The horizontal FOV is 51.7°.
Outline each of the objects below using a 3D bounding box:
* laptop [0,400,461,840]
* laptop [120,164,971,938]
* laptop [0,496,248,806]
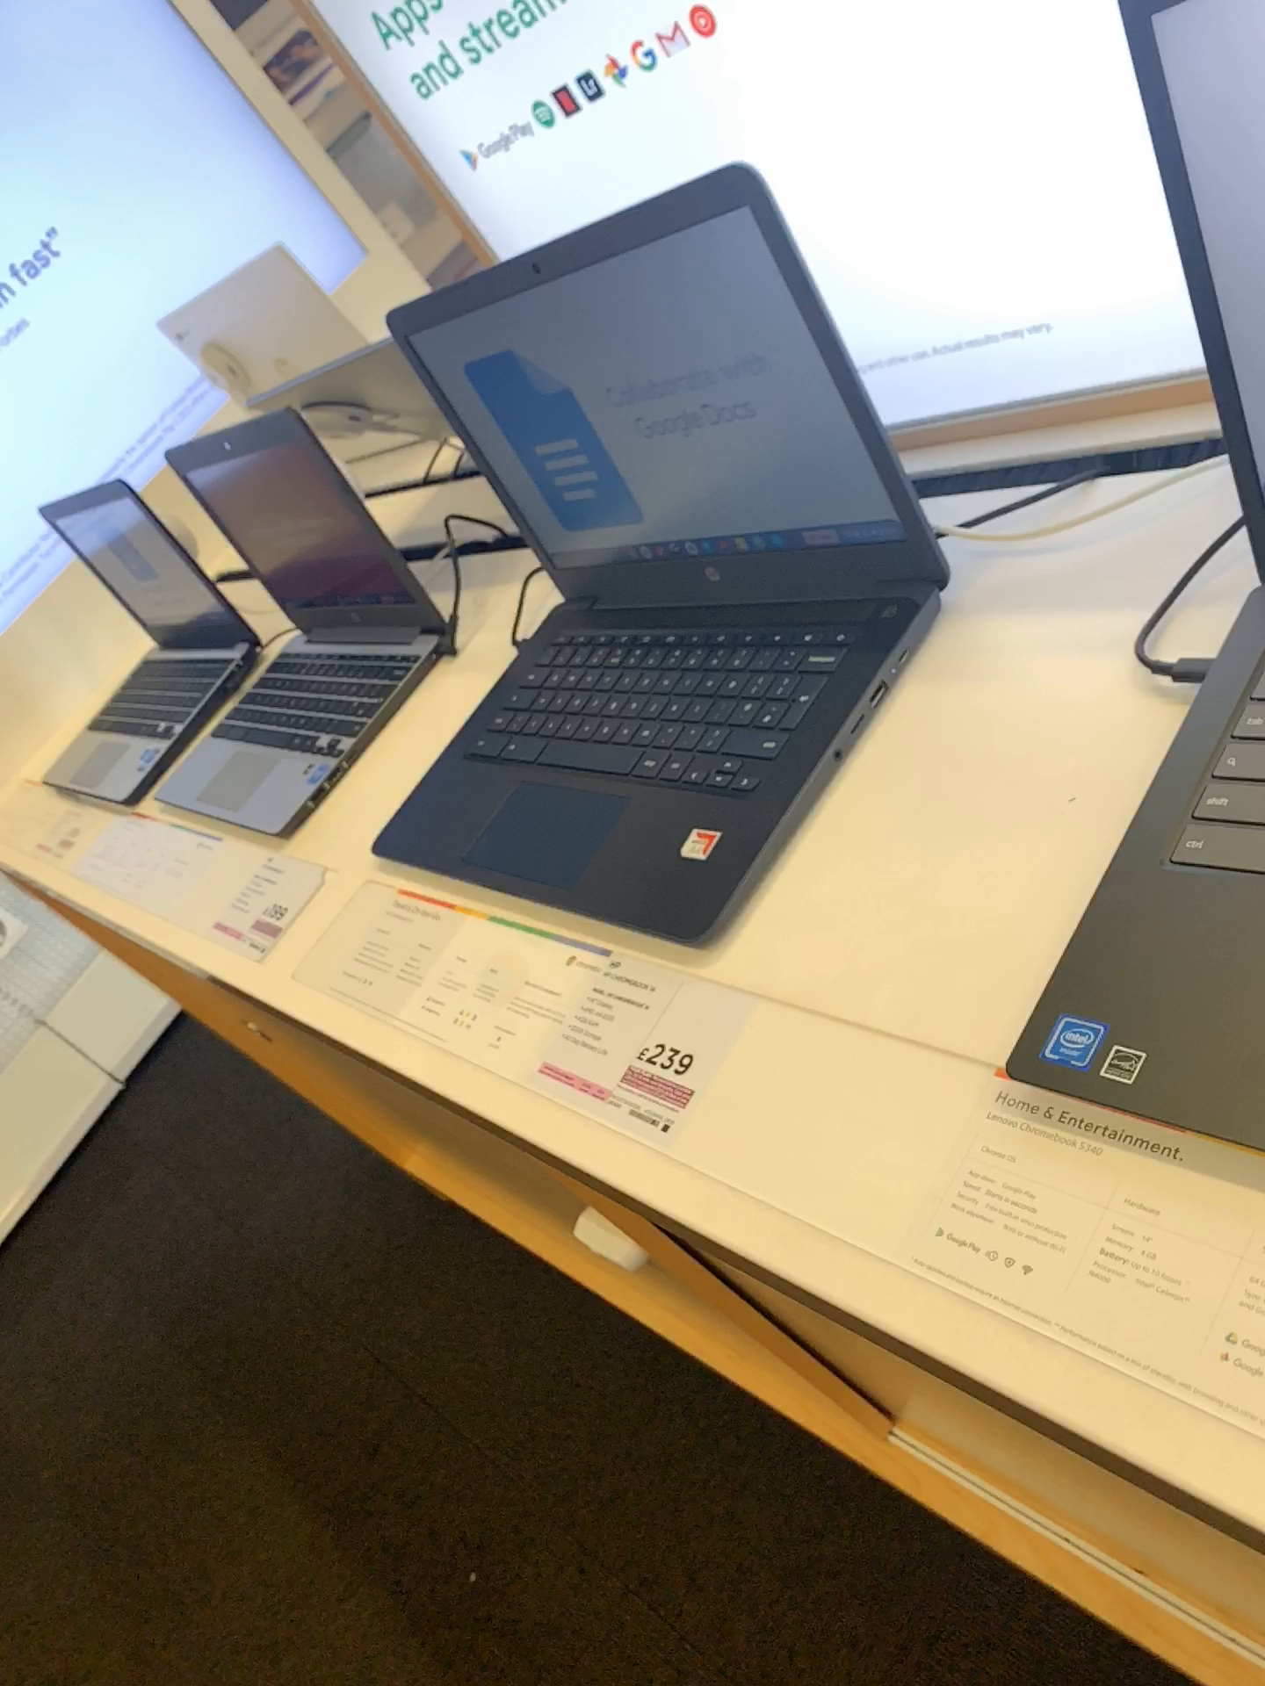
[{"bbox_3d":[-0.333,-0.173,1.029,0.272,0.186,0.242,9,60,51],"label":"laptop"},{"bbox_3d":[-0.060,-0.138,0.688,0.333,0.209,0.245,11,60,53],"label":"laptop"},{"bbox_3d":[-0.571,-0.187,1.305,0.336,0.189,0.191,11,61,54],"label":"laptop"}]
